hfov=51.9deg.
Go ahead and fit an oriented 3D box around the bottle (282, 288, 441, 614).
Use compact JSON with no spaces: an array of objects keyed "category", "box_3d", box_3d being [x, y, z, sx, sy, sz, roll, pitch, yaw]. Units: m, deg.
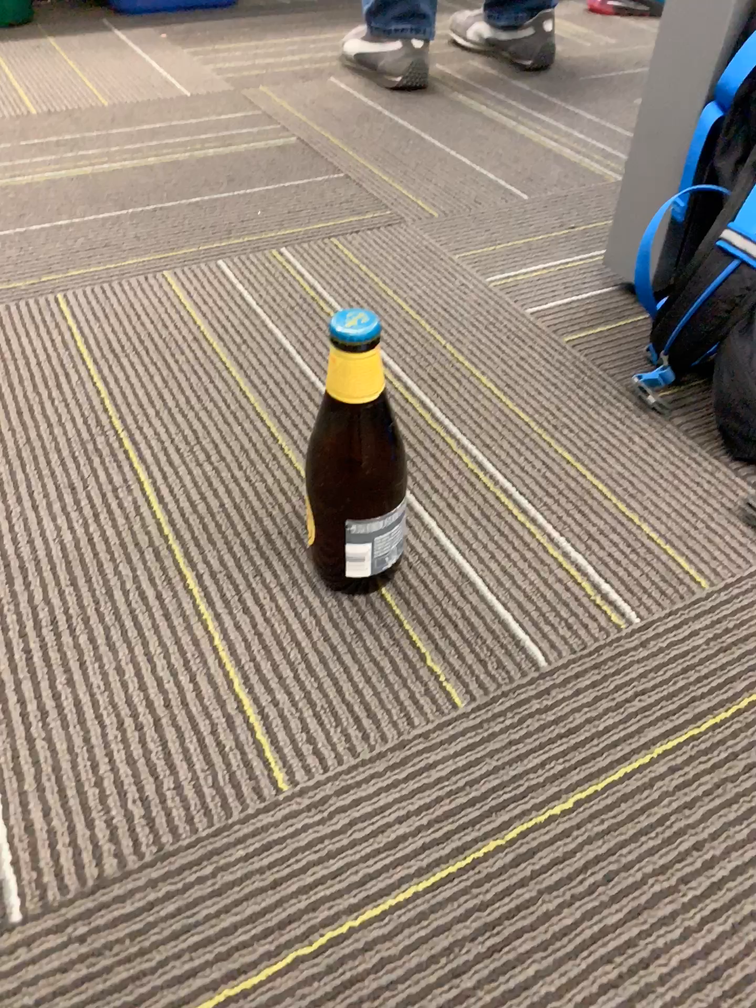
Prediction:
[{"category":"bottle","box_3d":[-0.009,-0.024,0.453,0.060,0.179,0.060,1,43,-1]}]
